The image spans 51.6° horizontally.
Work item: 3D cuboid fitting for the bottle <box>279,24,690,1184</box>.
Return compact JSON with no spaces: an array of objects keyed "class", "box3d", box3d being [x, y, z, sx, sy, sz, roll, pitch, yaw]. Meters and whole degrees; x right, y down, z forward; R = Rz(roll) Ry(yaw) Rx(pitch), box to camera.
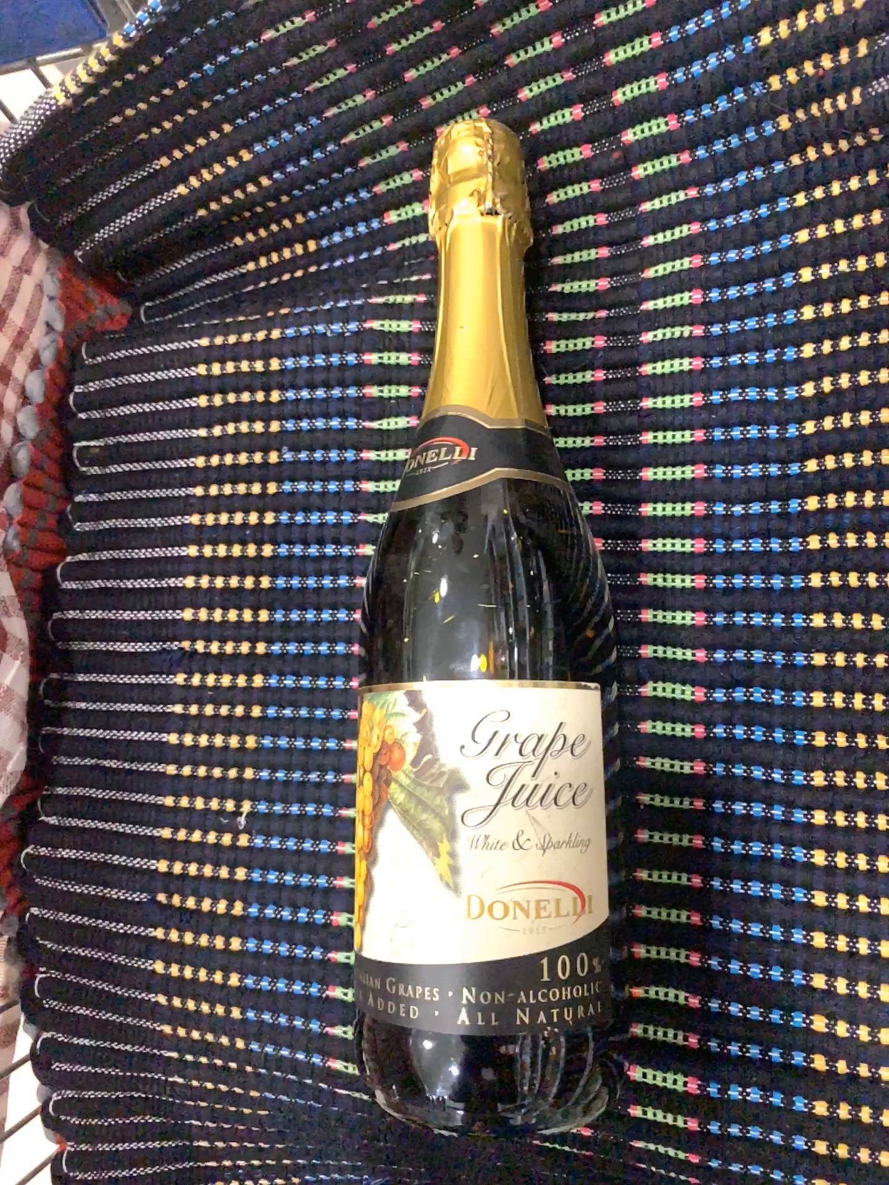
[{"class":"bottle","box3d":[0.019,-0.010,0.276,0.090,0.080,0.300,-3,73,14]}]
